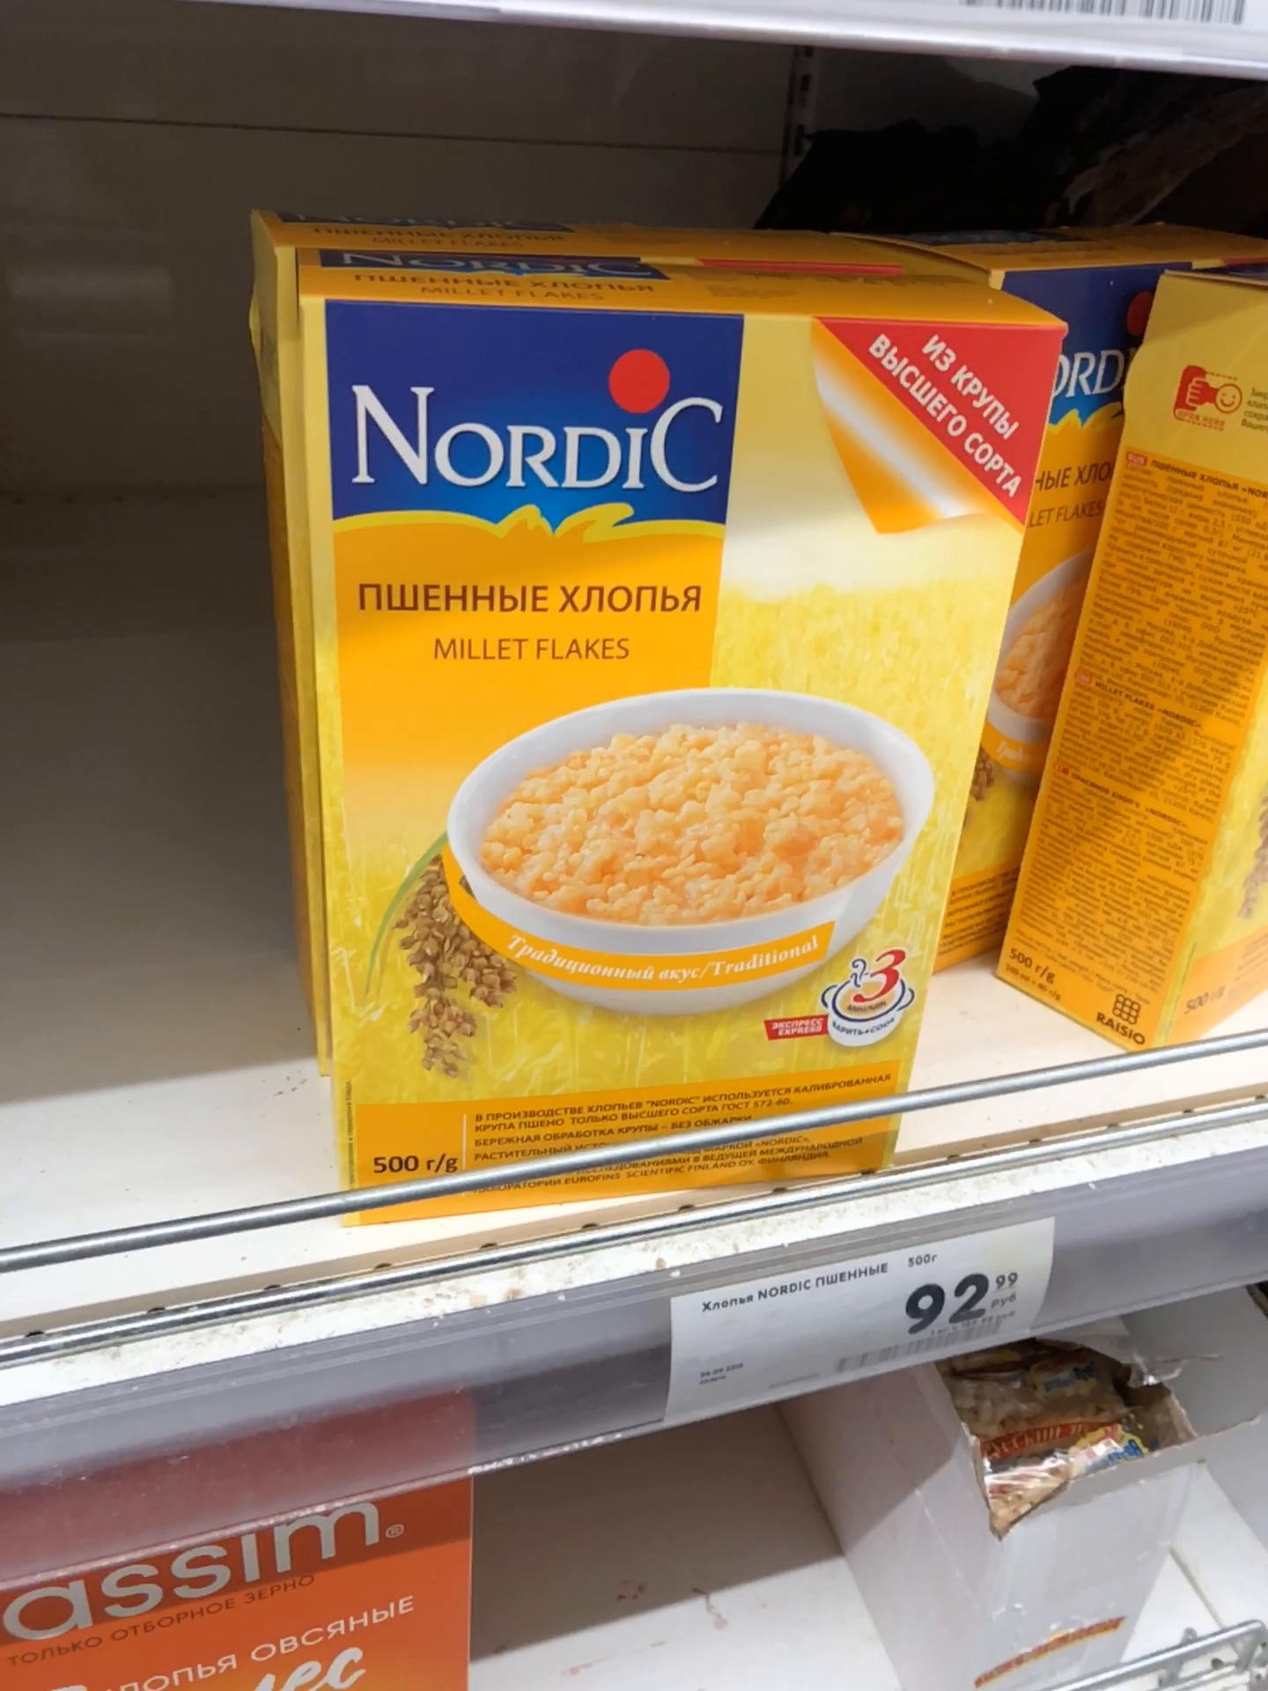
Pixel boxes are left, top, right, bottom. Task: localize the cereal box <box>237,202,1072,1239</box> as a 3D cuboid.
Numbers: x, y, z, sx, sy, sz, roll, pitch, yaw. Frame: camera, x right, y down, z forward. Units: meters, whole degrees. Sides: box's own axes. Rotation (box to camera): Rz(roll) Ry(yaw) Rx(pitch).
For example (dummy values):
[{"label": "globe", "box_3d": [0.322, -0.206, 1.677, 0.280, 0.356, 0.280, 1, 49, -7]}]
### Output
[{"label": "cereal box", "box_3d": [-0.005, -0.020, 0.307, 0.140, 0.209, 0.060, -2, 30, -11]}]
